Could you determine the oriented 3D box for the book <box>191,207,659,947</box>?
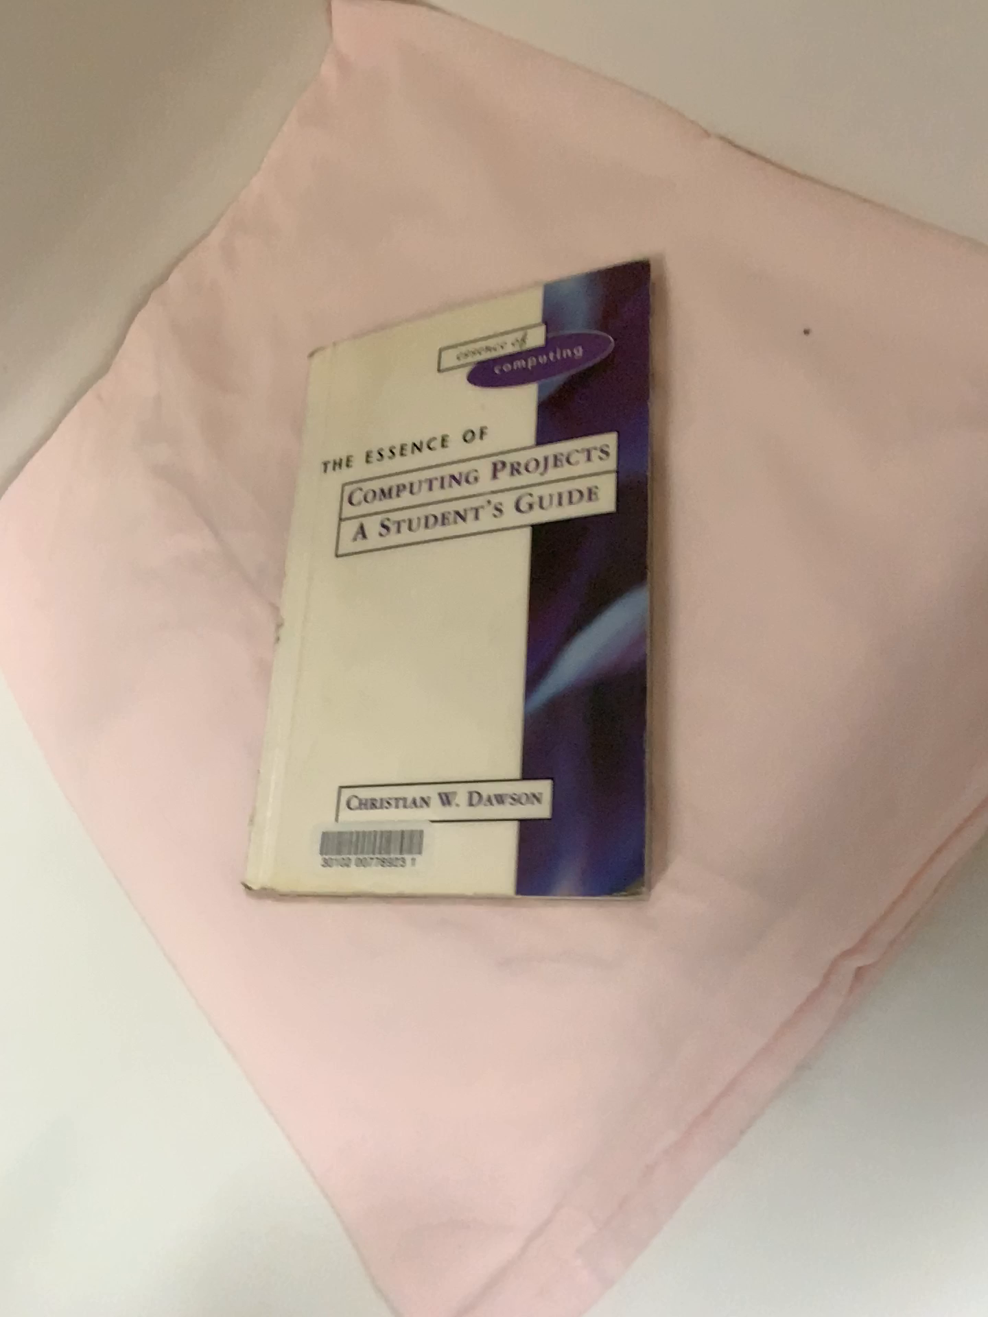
[{"bbox_3d":[-0.023,-0.031,0.377,0.170,0.020,0.261,-7,68,28],"label":"book"}]
